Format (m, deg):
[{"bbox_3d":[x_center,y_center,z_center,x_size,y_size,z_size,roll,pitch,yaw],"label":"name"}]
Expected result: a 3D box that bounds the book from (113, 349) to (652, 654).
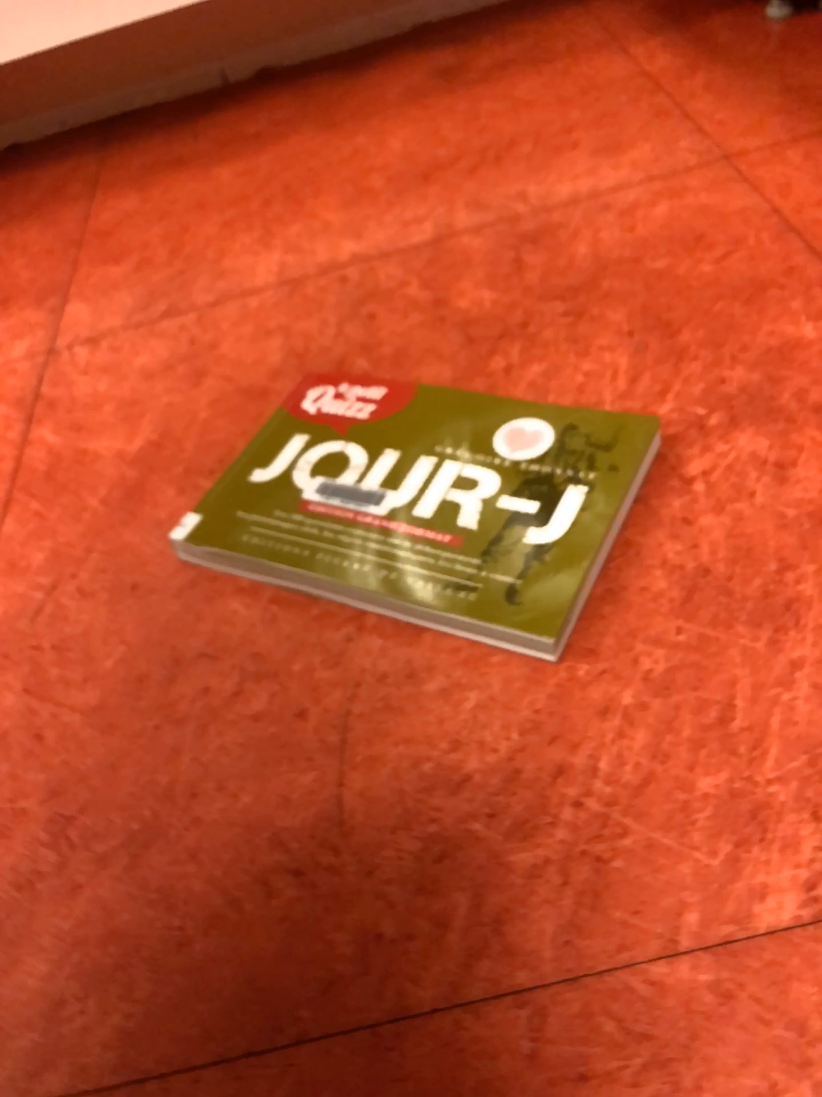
[{"bbox_3d":[-0.014,-0.035,0.433,0.218,0.016,0.137,13,52,25],"label":"book"}]
